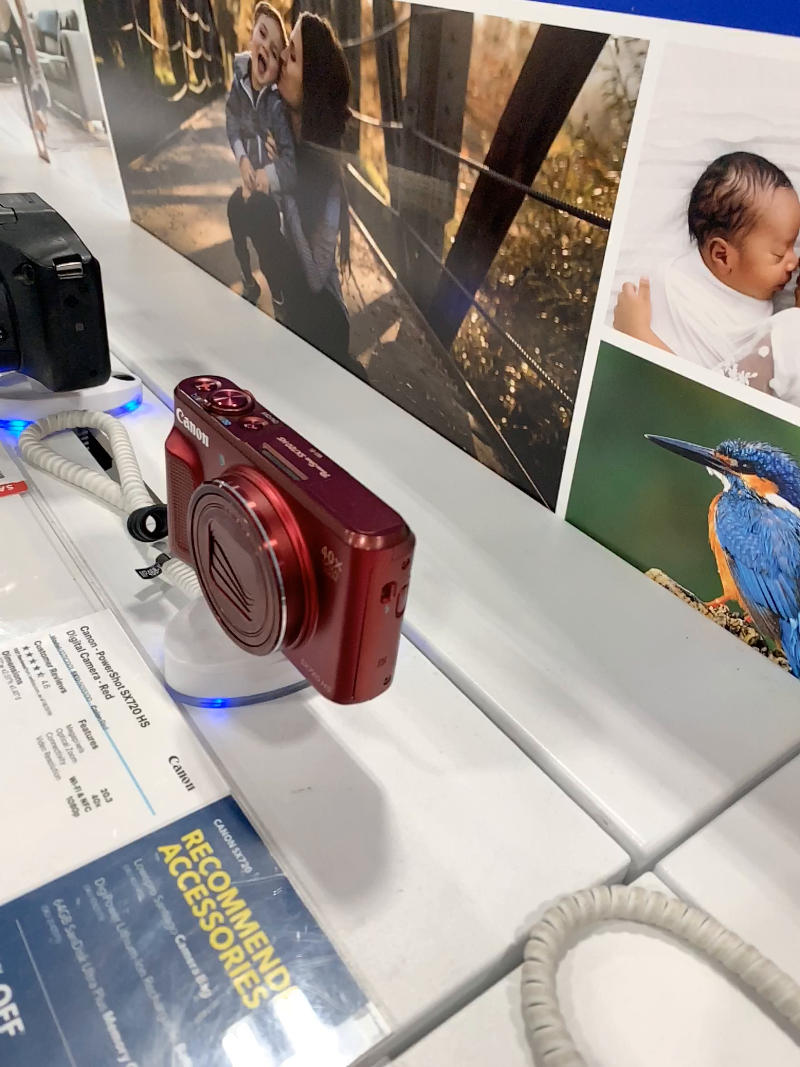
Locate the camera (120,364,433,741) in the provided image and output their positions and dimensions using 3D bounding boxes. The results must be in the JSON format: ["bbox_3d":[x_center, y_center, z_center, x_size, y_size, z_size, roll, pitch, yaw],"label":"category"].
[{"bbox_3d":[-0.044,0.000,0.255,0.037,0.060,0.110,-19,43,-35],"label":"camera"}]
